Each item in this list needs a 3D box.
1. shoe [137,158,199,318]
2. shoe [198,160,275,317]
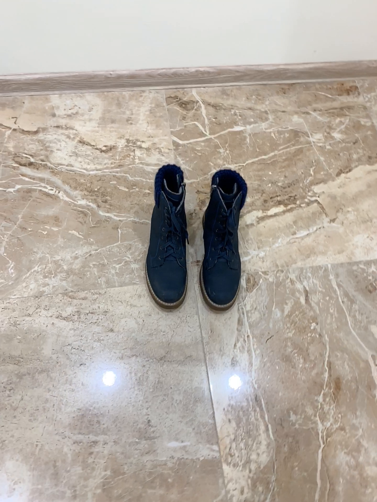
[{"bbox_3d":[-0.044,-0.018,0.778,0.101,0.200,0.261,1,66,-5],"label":"shoe"},{"bbox_3d":[0.084,-0.018,0.790,0.101,0.200,0.261,1,66,-5],"label":"shoe"}]
